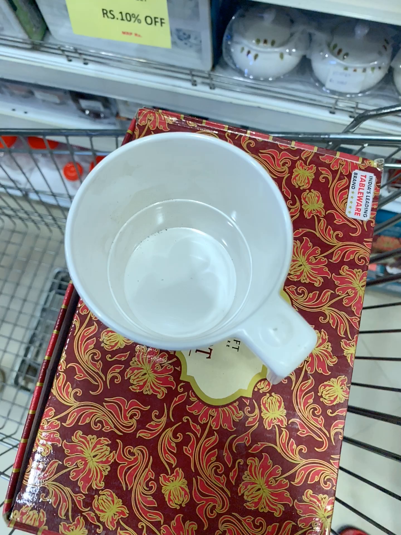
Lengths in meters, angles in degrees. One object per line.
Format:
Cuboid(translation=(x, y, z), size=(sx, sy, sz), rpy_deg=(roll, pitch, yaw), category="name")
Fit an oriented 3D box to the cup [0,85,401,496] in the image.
Cuboid(translation=(-0.002, 0.009, 0.172), size=(0.110, 0.080, 0.080), rpy_deg=(41, 81, 9), category="cup")
